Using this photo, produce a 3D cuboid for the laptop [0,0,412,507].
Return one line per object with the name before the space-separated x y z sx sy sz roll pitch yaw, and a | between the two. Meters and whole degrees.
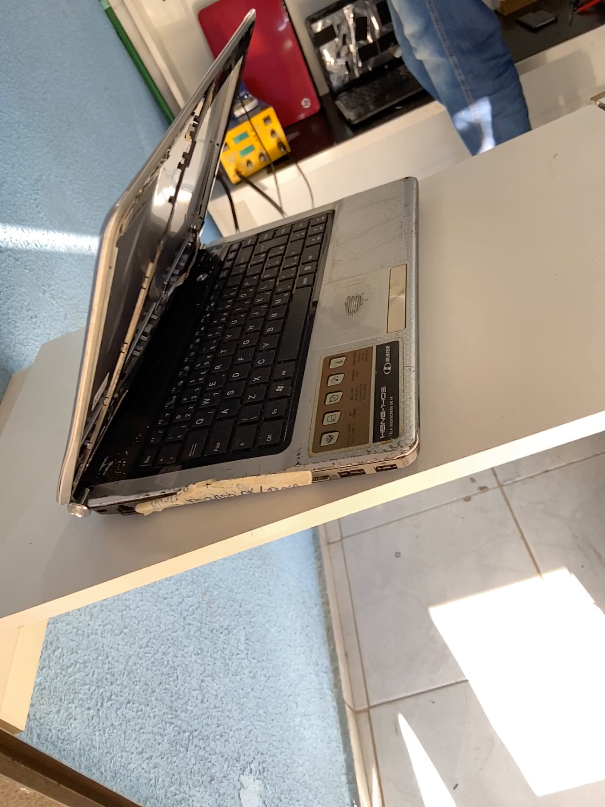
laptop | -0.062 -0.122 0.437 0.232 0.160 0.327 -12 40 21
